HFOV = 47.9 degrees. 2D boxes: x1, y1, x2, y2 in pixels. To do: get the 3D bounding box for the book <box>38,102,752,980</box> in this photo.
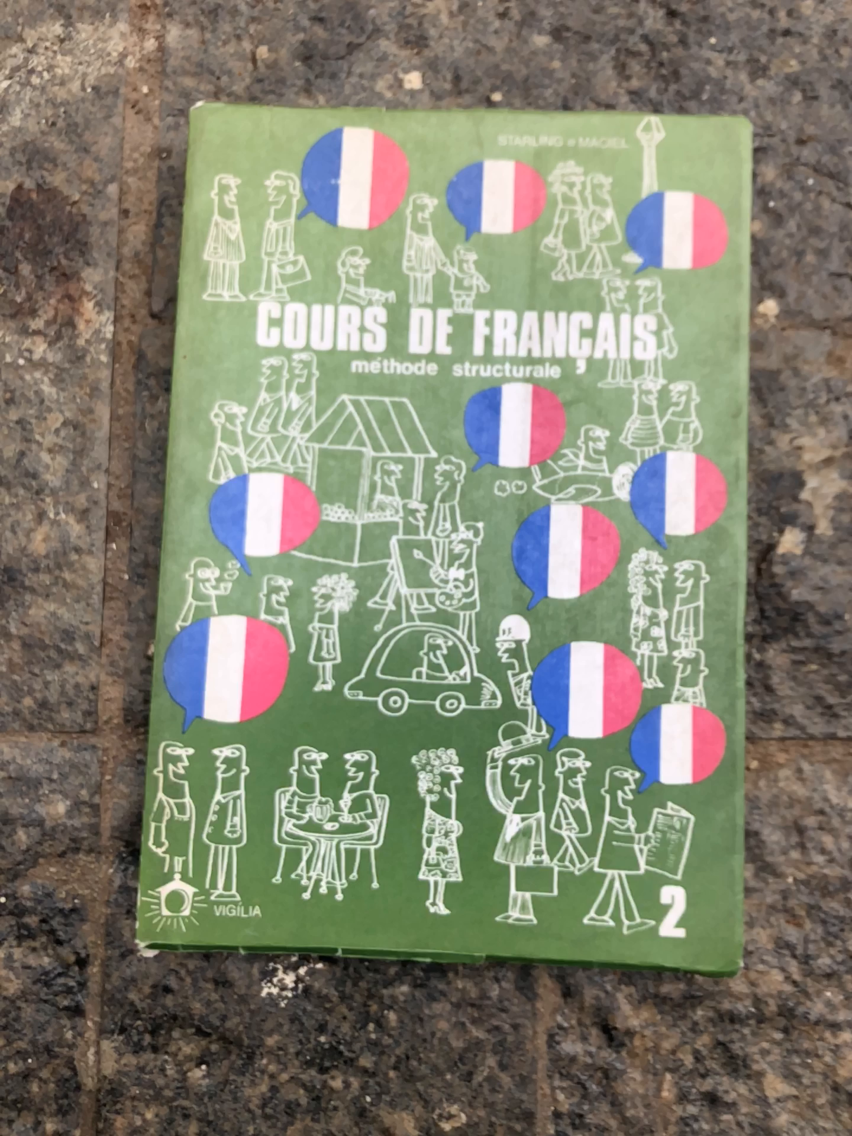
[{"bbox_3d":[-0.005,-0.012,0.241,0.167,0.013,0.211,2,85,2],"label":"book"}]
